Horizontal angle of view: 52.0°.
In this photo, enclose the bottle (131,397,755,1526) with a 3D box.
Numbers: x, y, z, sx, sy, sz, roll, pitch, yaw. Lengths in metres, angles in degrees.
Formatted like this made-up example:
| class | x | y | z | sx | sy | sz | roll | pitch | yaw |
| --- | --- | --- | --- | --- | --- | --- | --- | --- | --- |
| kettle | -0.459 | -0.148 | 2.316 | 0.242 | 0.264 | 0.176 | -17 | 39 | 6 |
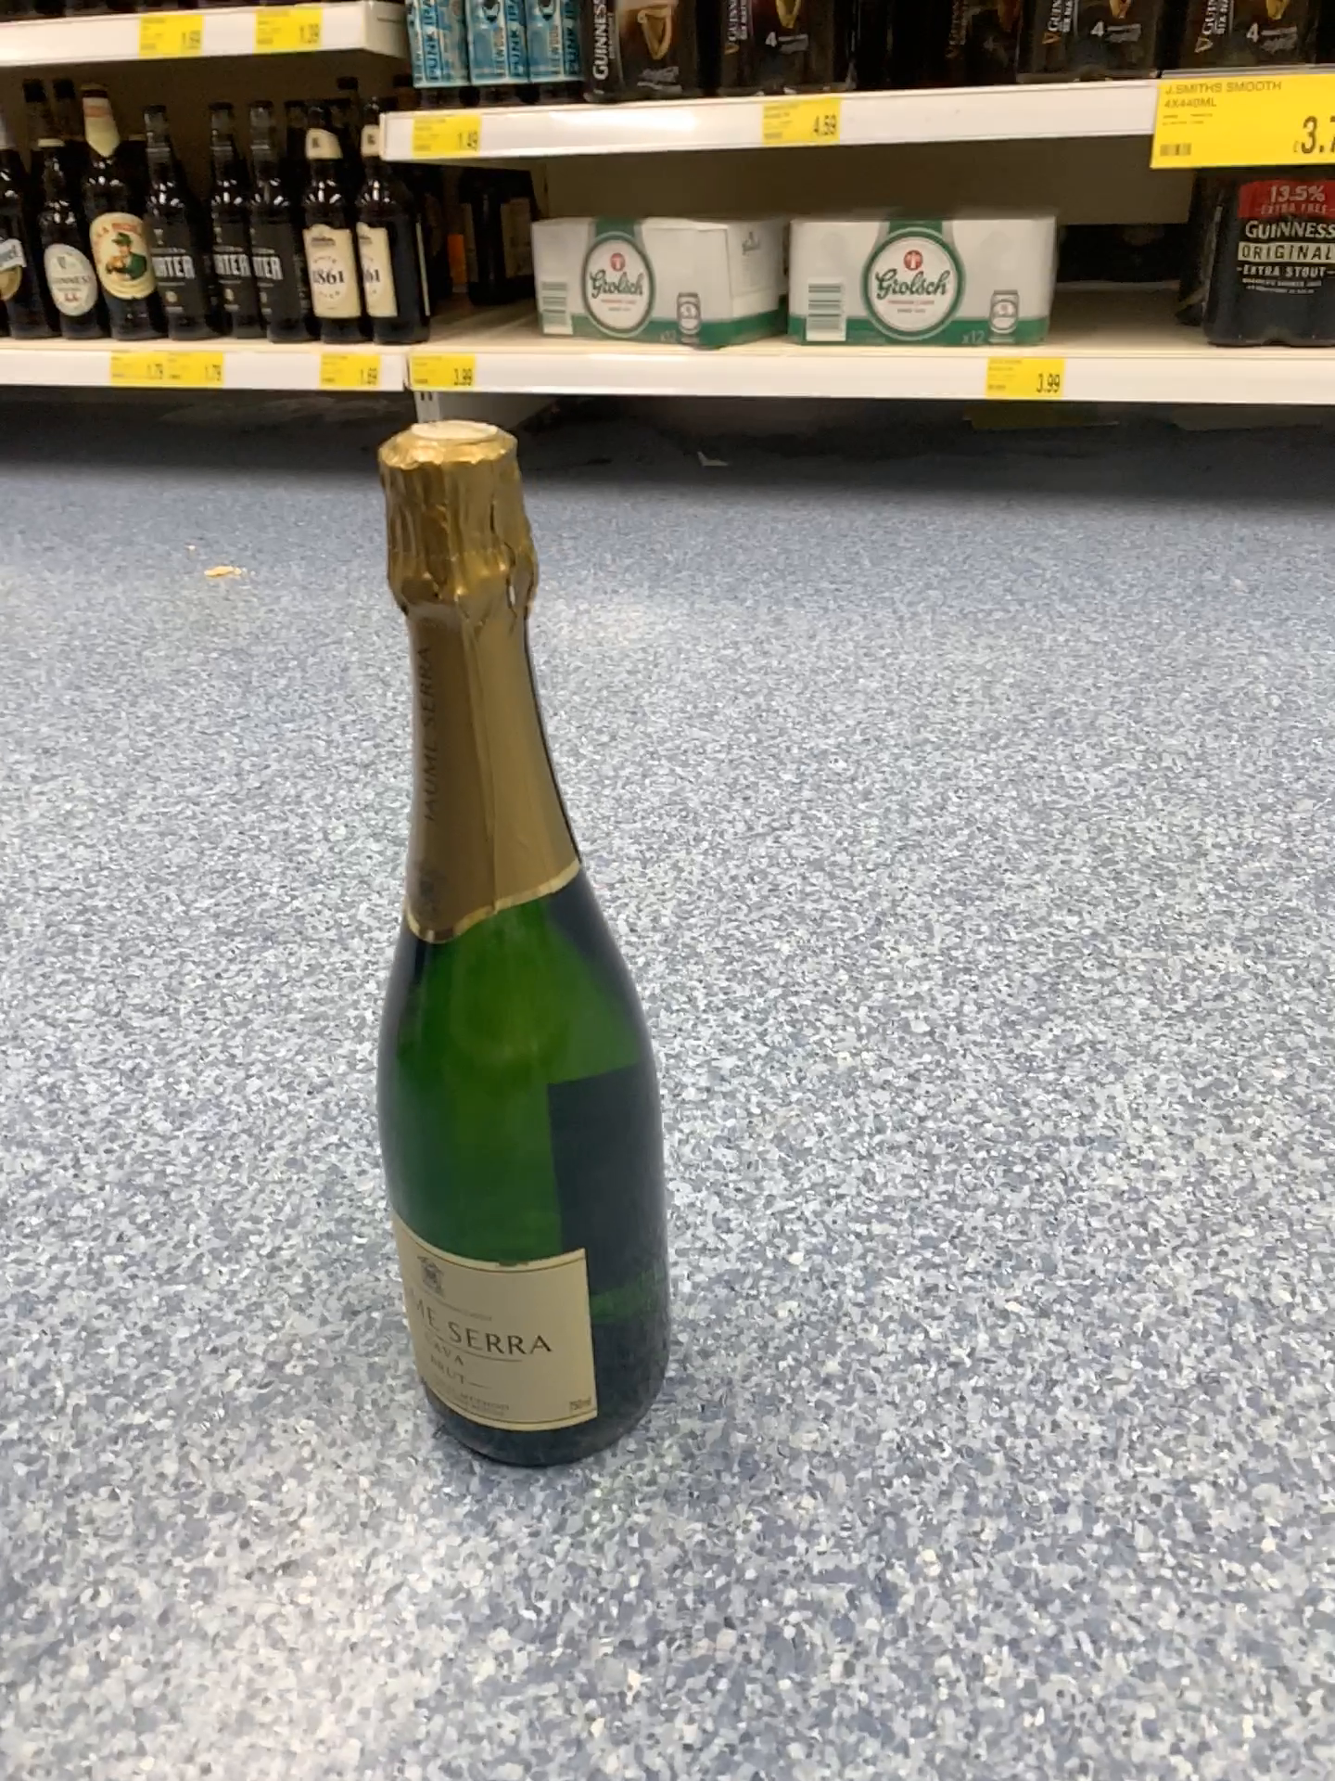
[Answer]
| class | x | y | z | sx | sy | sz | roll | pitch | yaw |
| --- | --- | --- | --- | --- | --- | --- | --- | --- | --- |
| bottle | -0.047 | 0.023 | 0.396 | 0.104 | 0.292 | 0.105 | -2 | 29 | 1 |
